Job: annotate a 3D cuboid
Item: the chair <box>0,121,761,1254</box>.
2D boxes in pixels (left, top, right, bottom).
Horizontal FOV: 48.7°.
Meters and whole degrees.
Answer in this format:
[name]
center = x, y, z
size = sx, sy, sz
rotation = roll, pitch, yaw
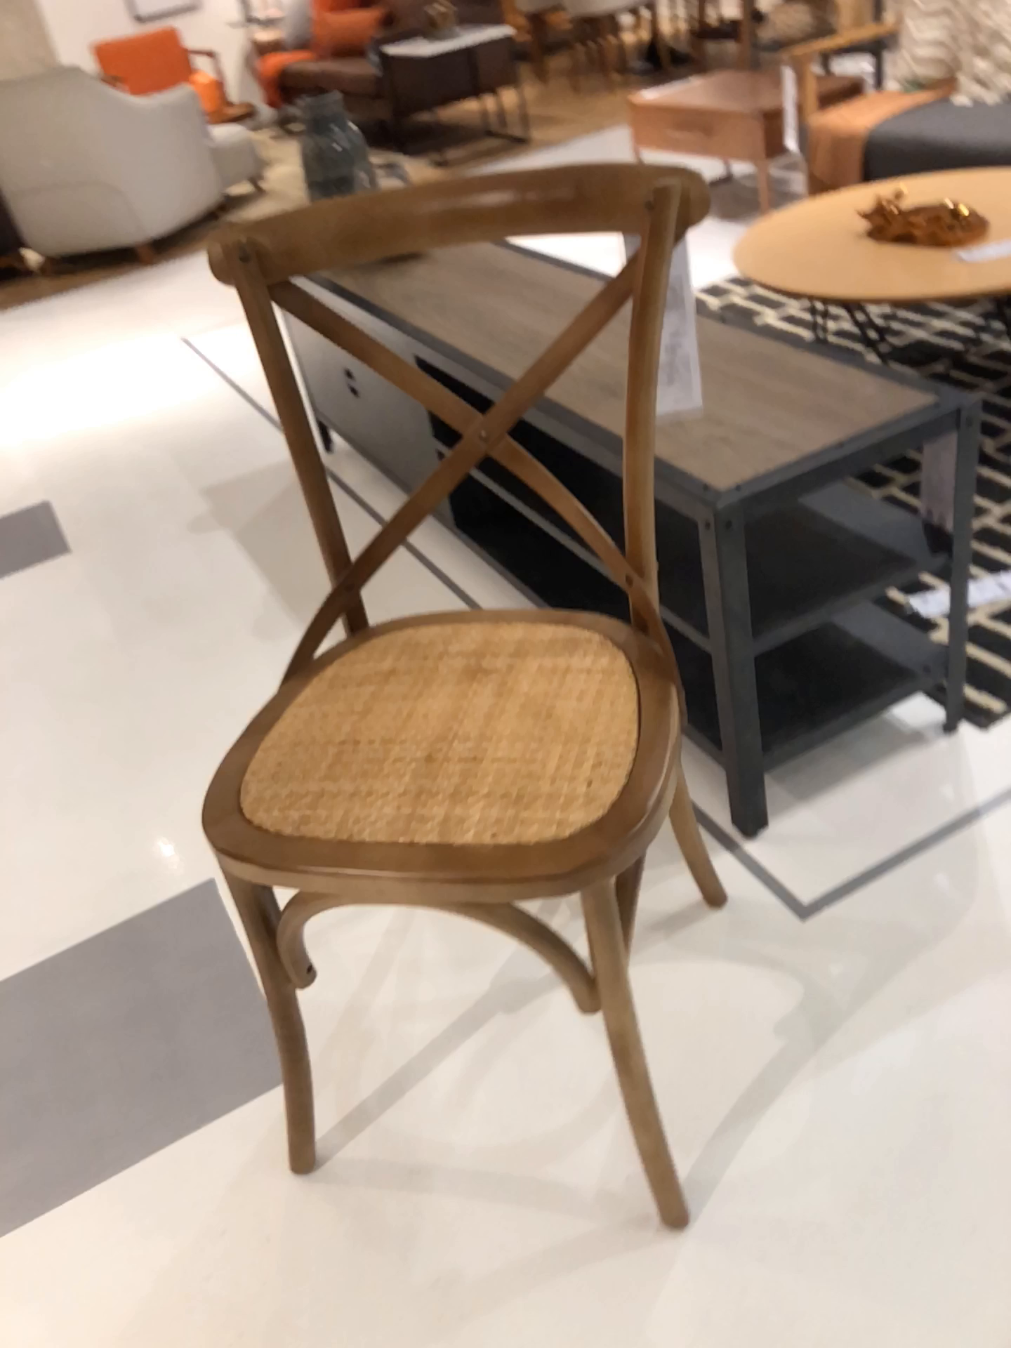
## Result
[chair]
center = -0.048, 0.023, 1.100
size = 0.500, 0.863, 0.574
rotation = -1, 36, 18
